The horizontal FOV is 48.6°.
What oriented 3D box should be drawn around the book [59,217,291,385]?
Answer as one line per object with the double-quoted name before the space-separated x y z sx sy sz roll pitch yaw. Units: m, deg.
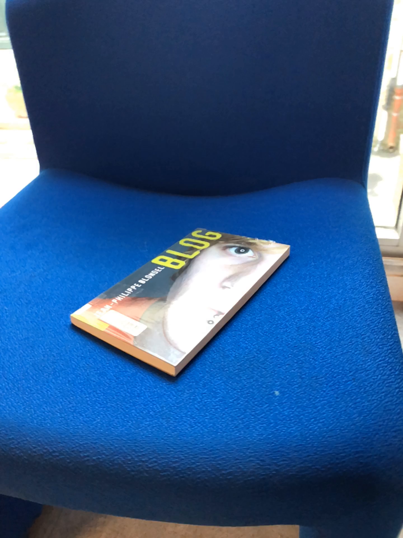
"book" -0.019 0.015 0.482 0.142 0.018 0.221 20 42 32
